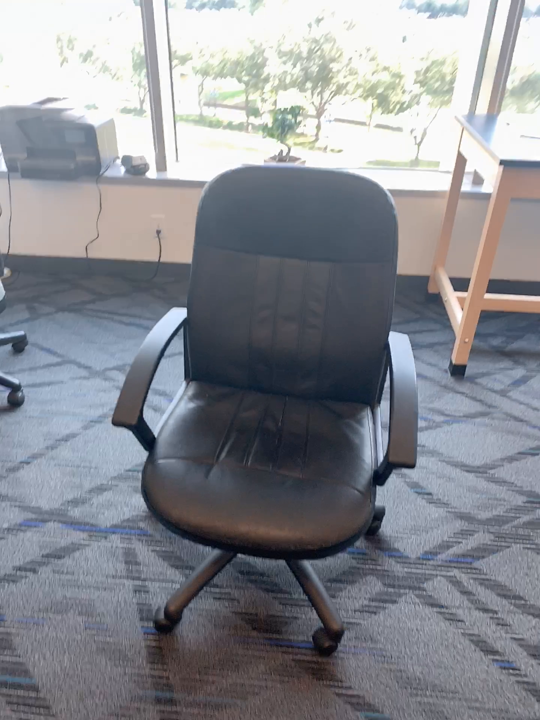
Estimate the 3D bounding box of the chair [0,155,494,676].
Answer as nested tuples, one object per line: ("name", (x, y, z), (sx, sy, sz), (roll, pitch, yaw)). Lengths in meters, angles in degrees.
("chair", (-0.012, 0.087, 1.280), (0.700, 0.892, 0.696), (6, 33, 7))
